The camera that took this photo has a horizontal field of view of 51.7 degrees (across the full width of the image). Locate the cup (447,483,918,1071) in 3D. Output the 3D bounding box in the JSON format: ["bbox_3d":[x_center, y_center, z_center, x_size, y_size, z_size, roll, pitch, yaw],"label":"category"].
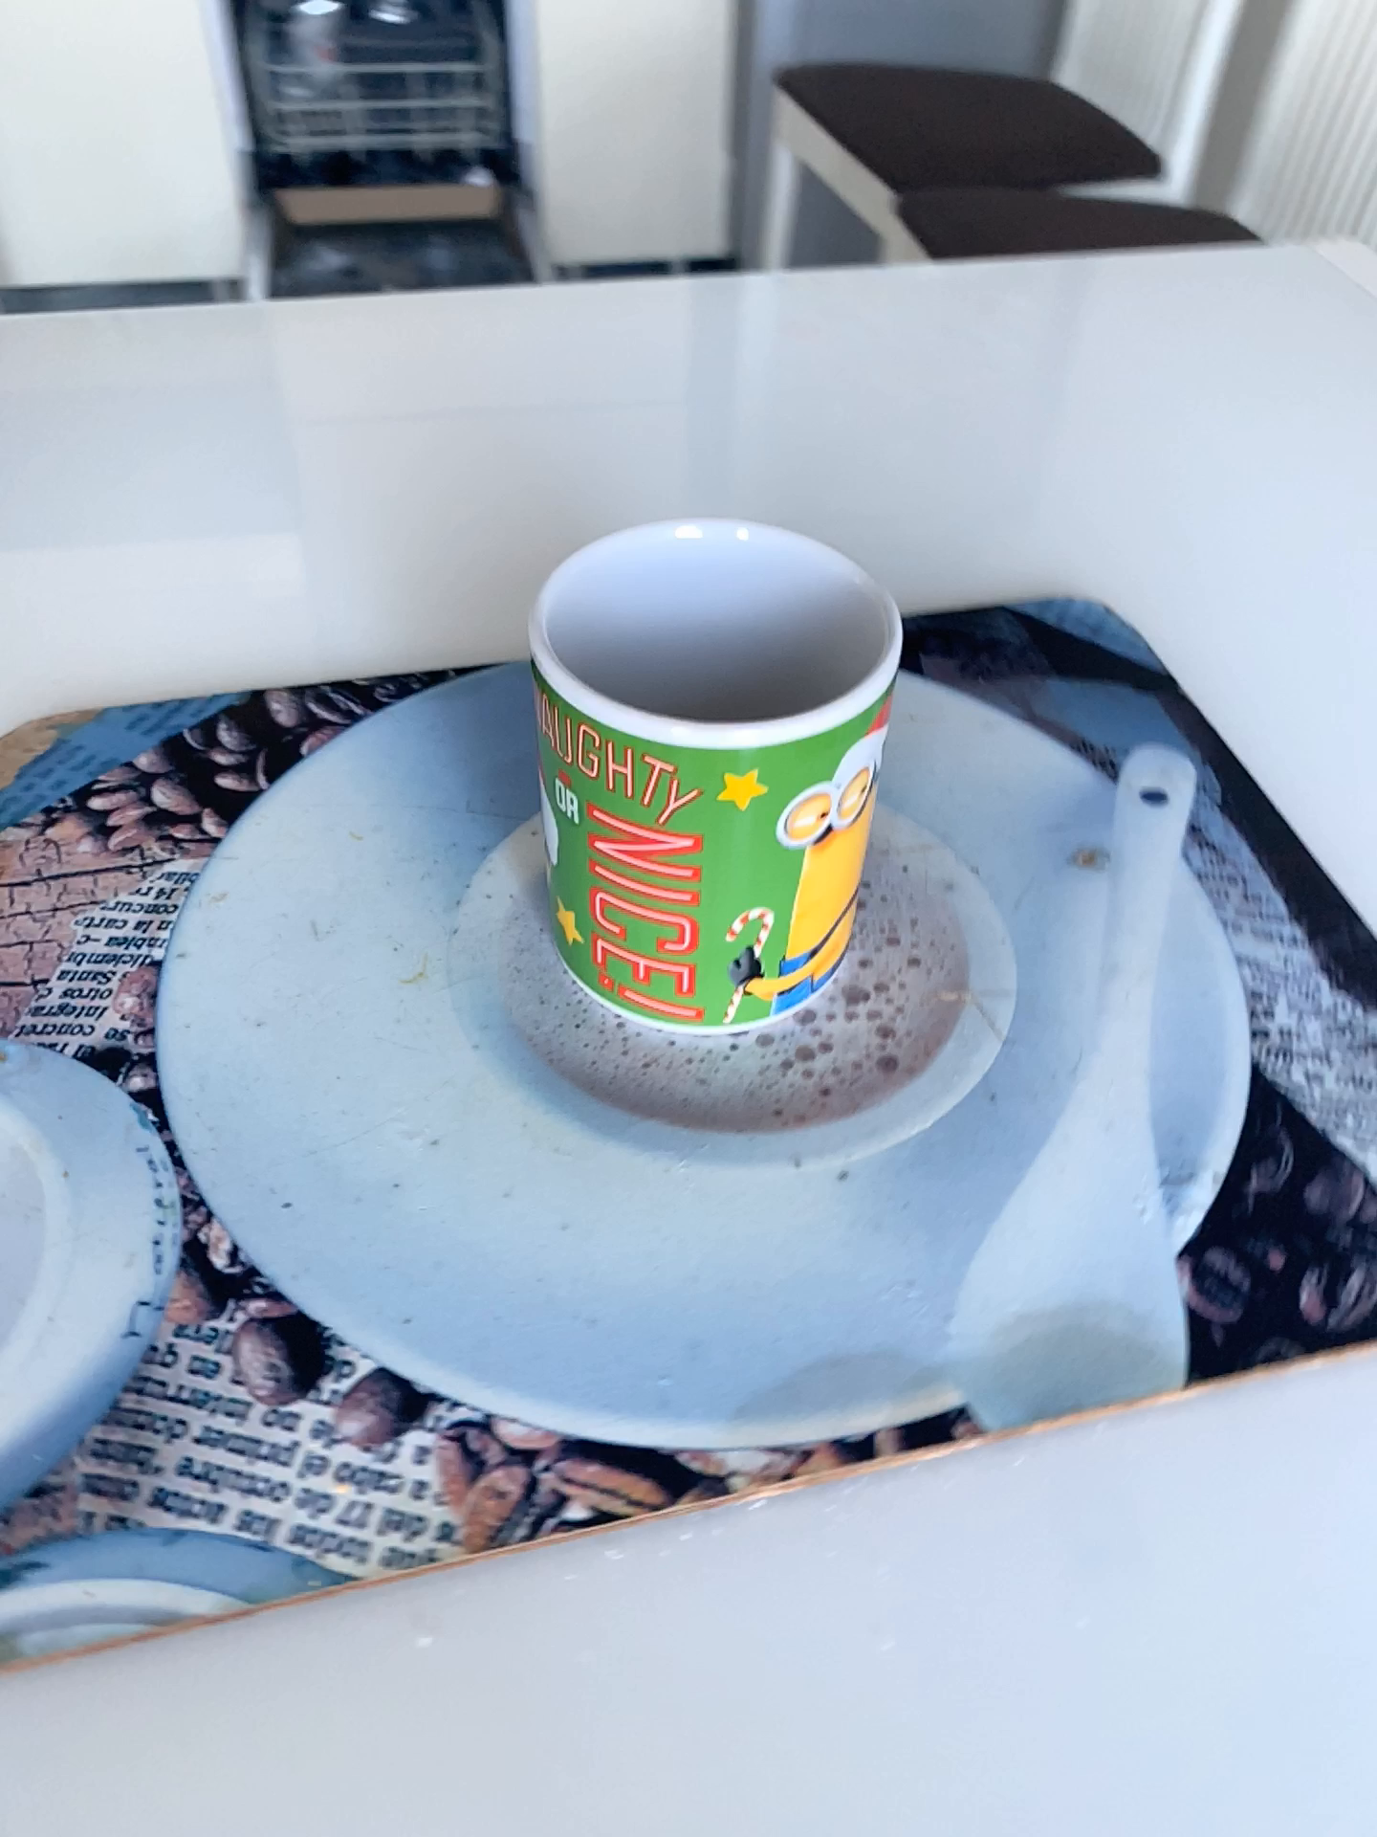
[{"bbox_3d":[-0.005,-0.040,0.356,0.094,0.077,0.134,-1,46,-3],"label":"cup"}]
